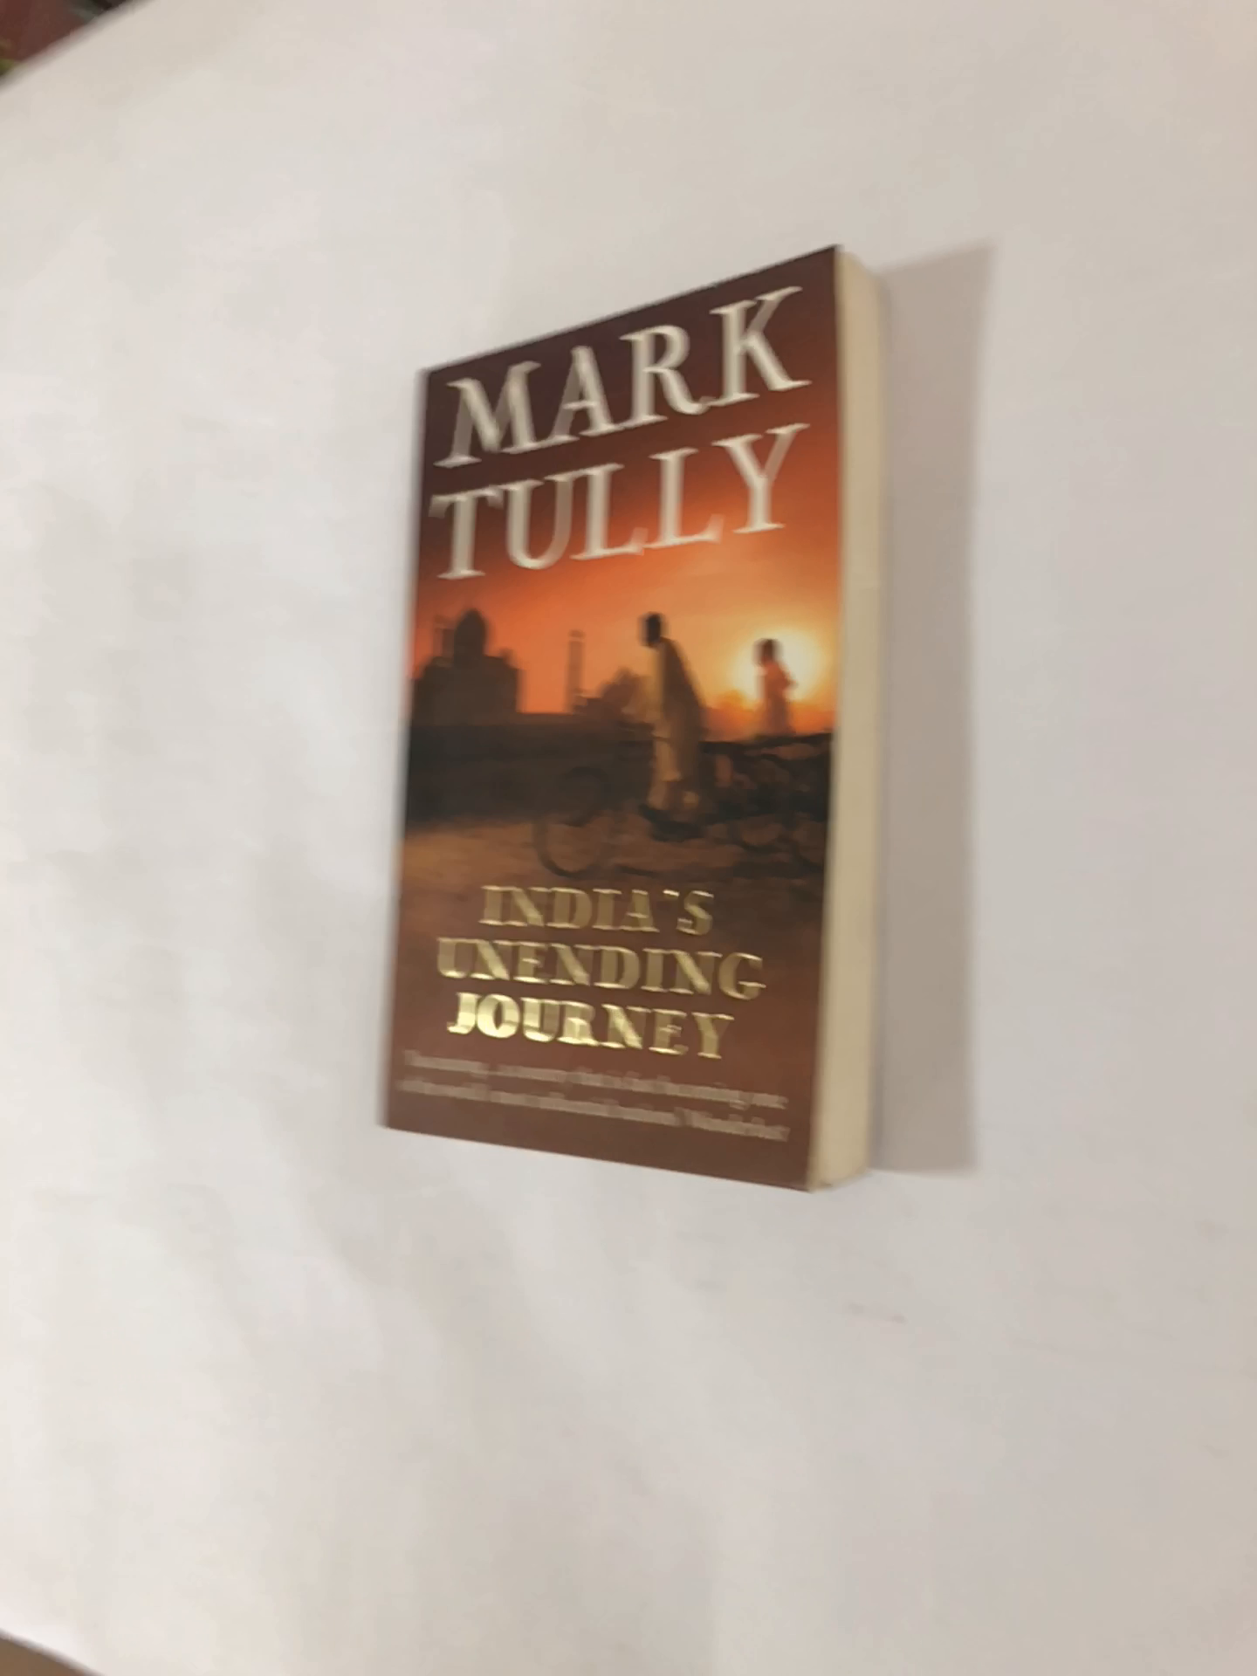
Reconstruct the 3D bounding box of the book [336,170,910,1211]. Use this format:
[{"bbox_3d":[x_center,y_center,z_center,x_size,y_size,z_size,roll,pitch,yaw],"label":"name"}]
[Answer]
[{"bbox_3d":[-0.004,-0.030,0.329,0.130,0.030,0.210,-1,84,34],"label":"book"}]
